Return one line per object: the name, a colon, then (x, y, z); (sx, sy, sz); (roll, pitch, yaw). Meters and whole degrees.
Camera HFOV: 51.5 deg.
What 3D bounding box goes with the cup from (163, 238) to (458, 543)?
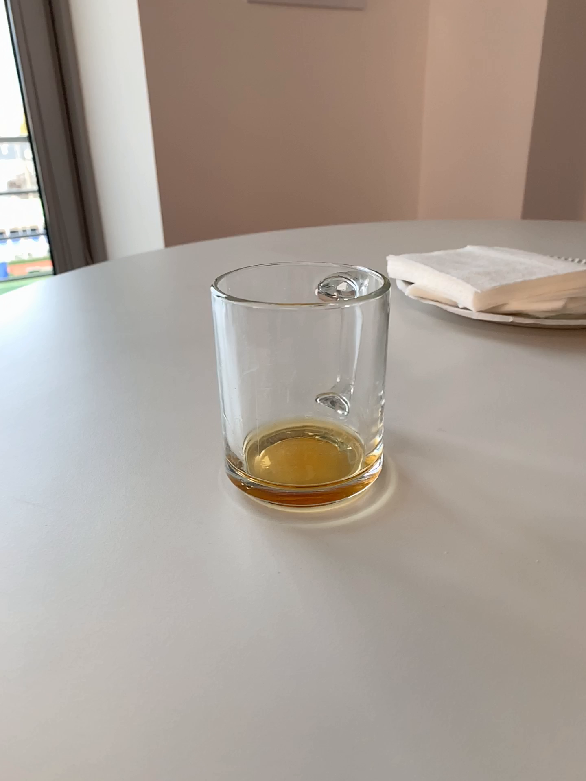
cup: (0.013, -0.010, 0.271); (0.082, 0.090, 0.102); (14, 28, 30)
